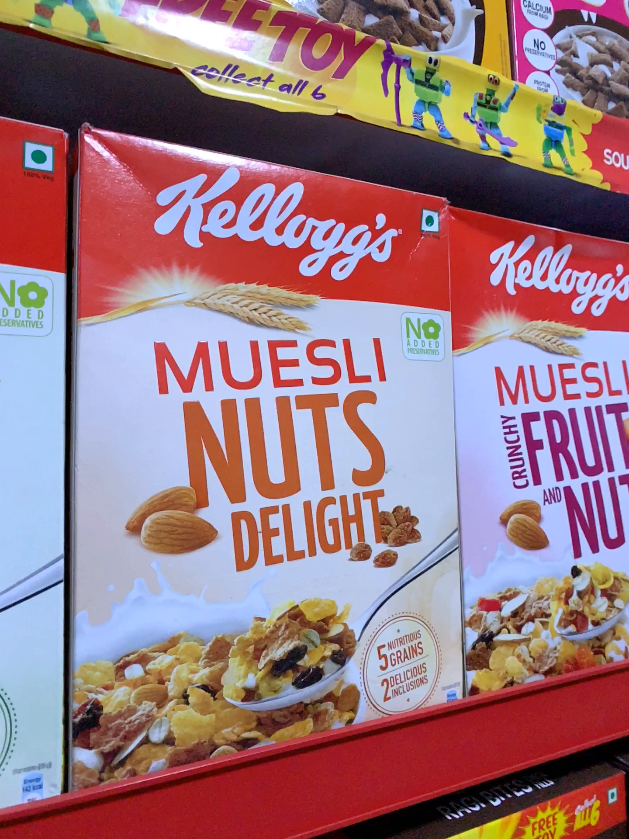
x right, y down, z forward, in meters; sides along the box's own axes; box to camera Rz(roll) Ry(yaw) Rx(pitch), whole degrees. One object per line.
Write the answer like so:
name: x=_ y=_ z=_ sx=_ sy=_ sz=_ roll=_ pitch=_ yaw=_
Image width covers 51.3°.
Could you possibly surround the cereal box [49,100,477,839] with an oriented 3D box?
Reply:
cereal box: x=-0.020 y=0.014 z=0.289 sx=0.170 sy=0.251 sz=0.060 roll=2 pitch=-6 yaw=-29
